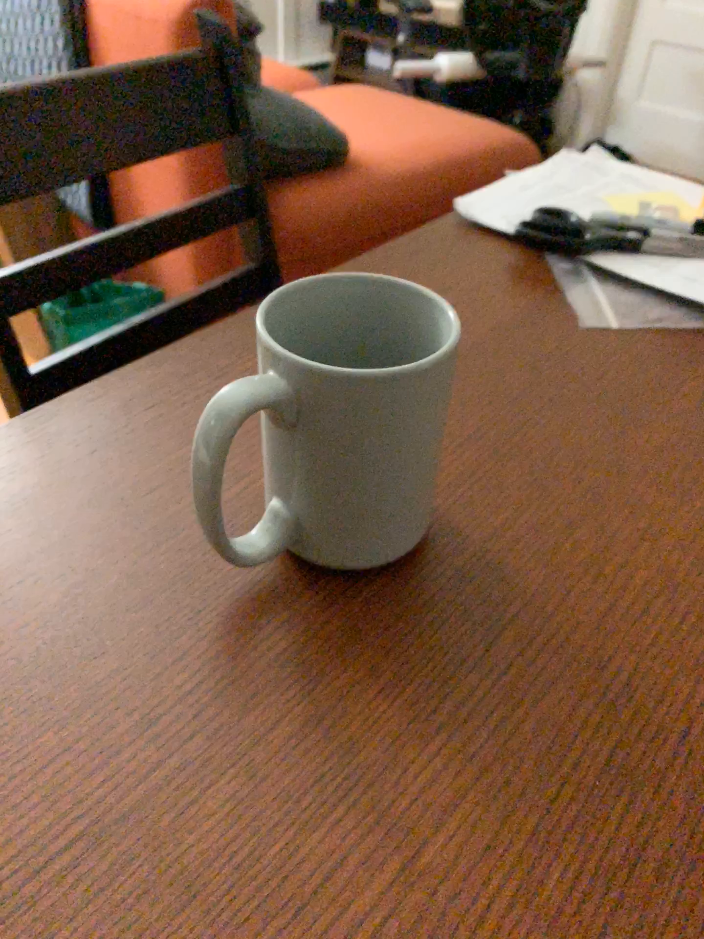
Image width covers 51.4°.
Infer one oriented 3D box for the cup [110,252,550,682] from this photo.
[{"bbox_3d":[-0.010,-0.010,0.321,0.140,0.109,0.100,-25,48,-30],"label":"cup"}]
